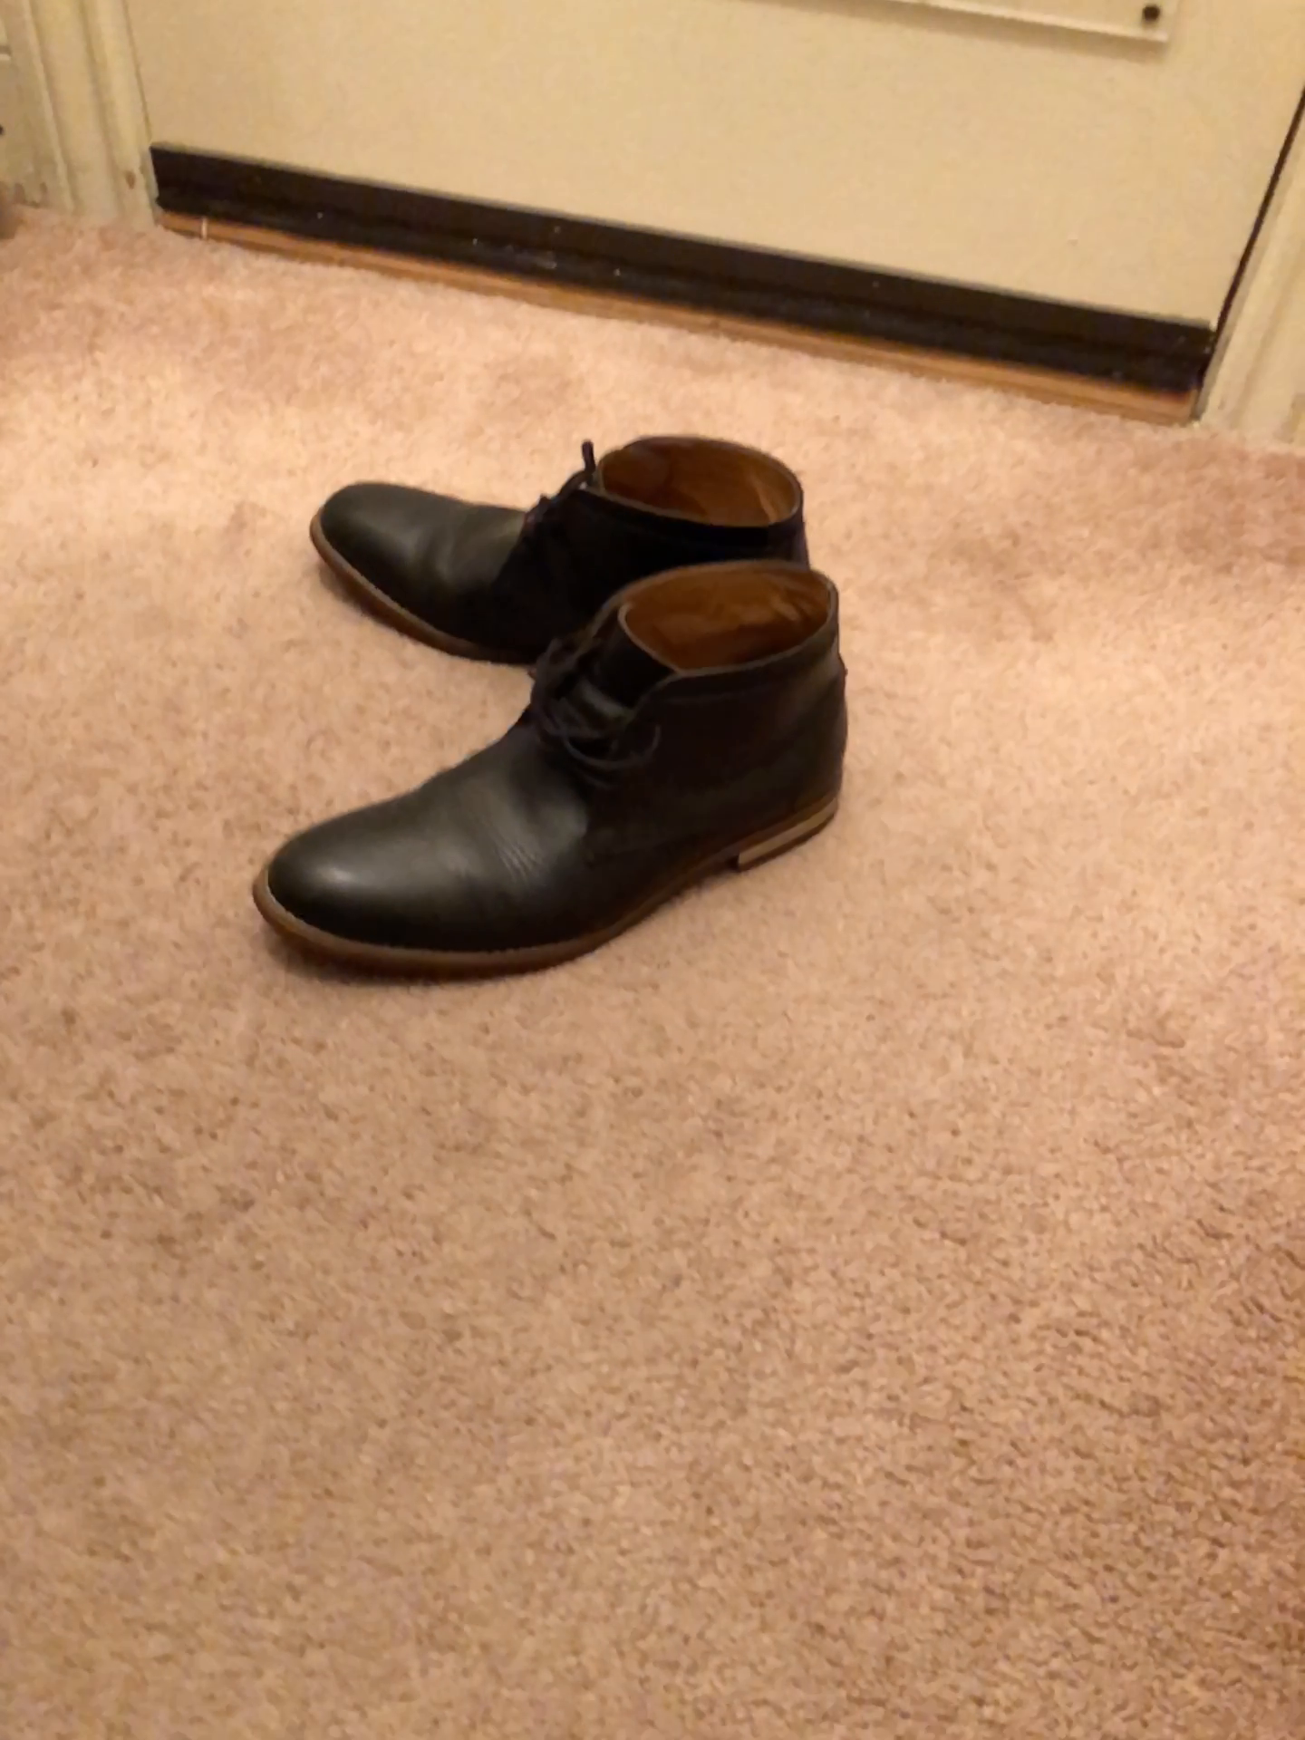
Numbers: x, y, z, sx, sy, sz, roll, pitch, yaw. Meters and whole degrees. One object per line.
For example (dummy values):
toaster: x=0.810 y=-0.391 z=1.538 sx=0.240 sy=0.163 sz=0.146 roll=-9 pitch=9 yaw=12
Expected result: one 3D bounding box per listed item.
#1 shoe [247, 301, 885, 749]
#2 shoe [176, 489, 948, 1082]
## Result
shoe: x=-0.044 y=-0.189 z=0.779 sx=0.302 sy=0.135 sz=0.117 roll=15 pitch=48 yaw=8
shoe: x=-0.035 y=-0.047 z=0.647 sx=0.303 sy=0.135 sz=0.116 roll=-22 pitch=53 yaw=-23
